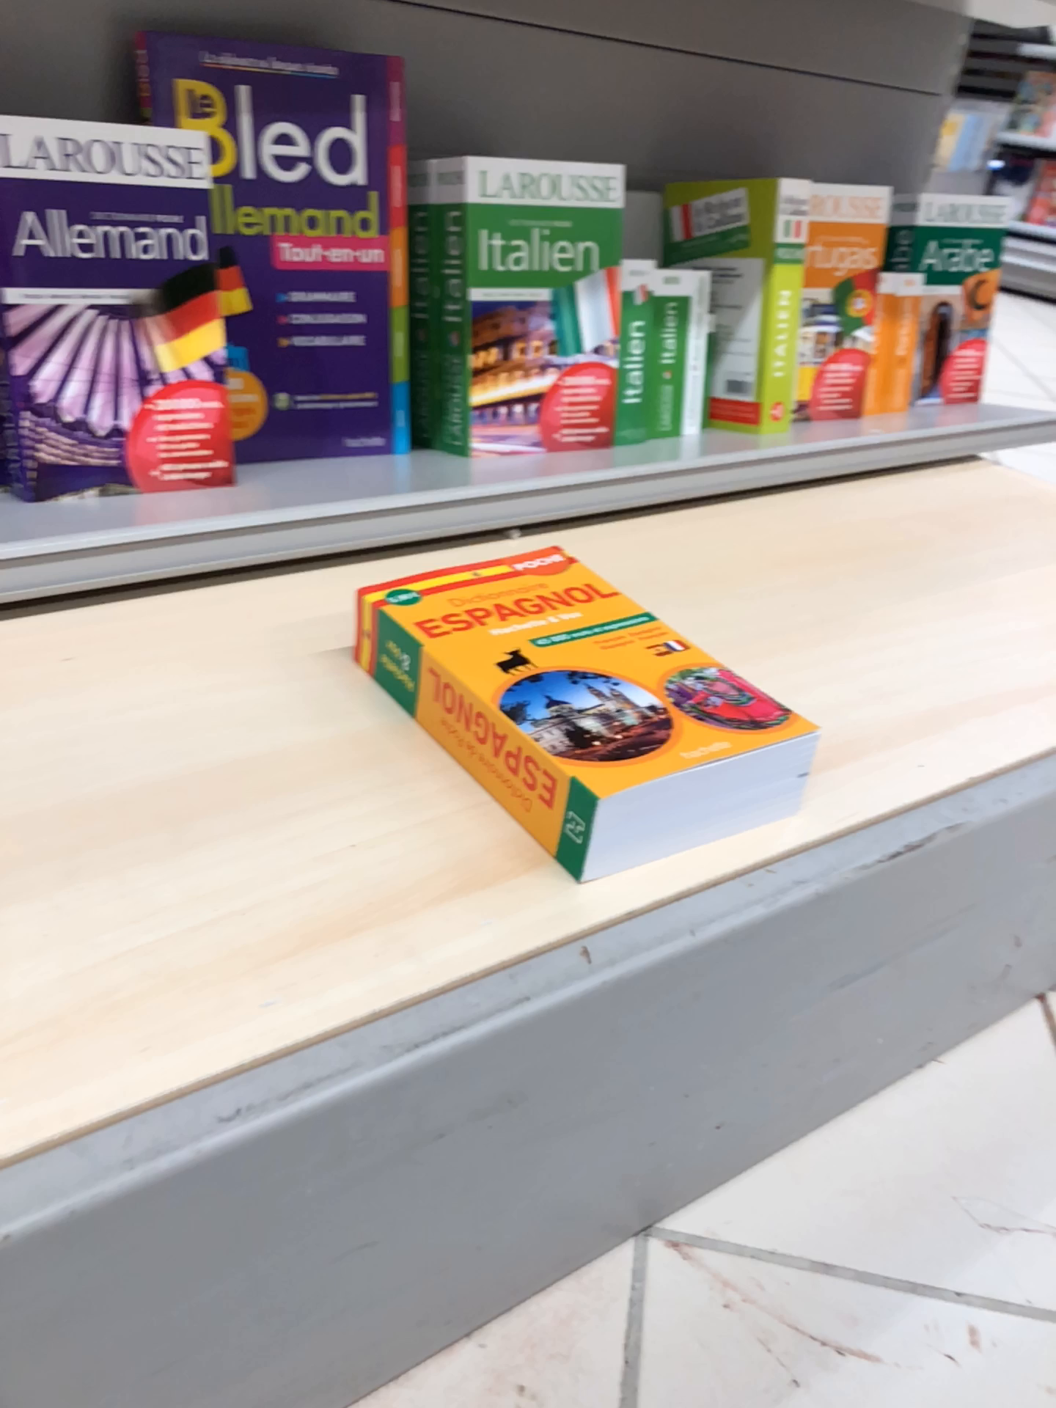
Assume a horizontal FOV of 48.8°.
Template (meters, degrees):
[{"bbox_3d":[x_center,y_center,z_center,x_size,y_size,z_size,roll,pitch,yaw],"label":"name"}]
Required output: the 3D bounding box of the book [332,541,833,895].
[{"bbox_3d":[0.013,-0.008,0.487,0.117,0.040,0.190,-14,35,-32],"label":"book"}]
